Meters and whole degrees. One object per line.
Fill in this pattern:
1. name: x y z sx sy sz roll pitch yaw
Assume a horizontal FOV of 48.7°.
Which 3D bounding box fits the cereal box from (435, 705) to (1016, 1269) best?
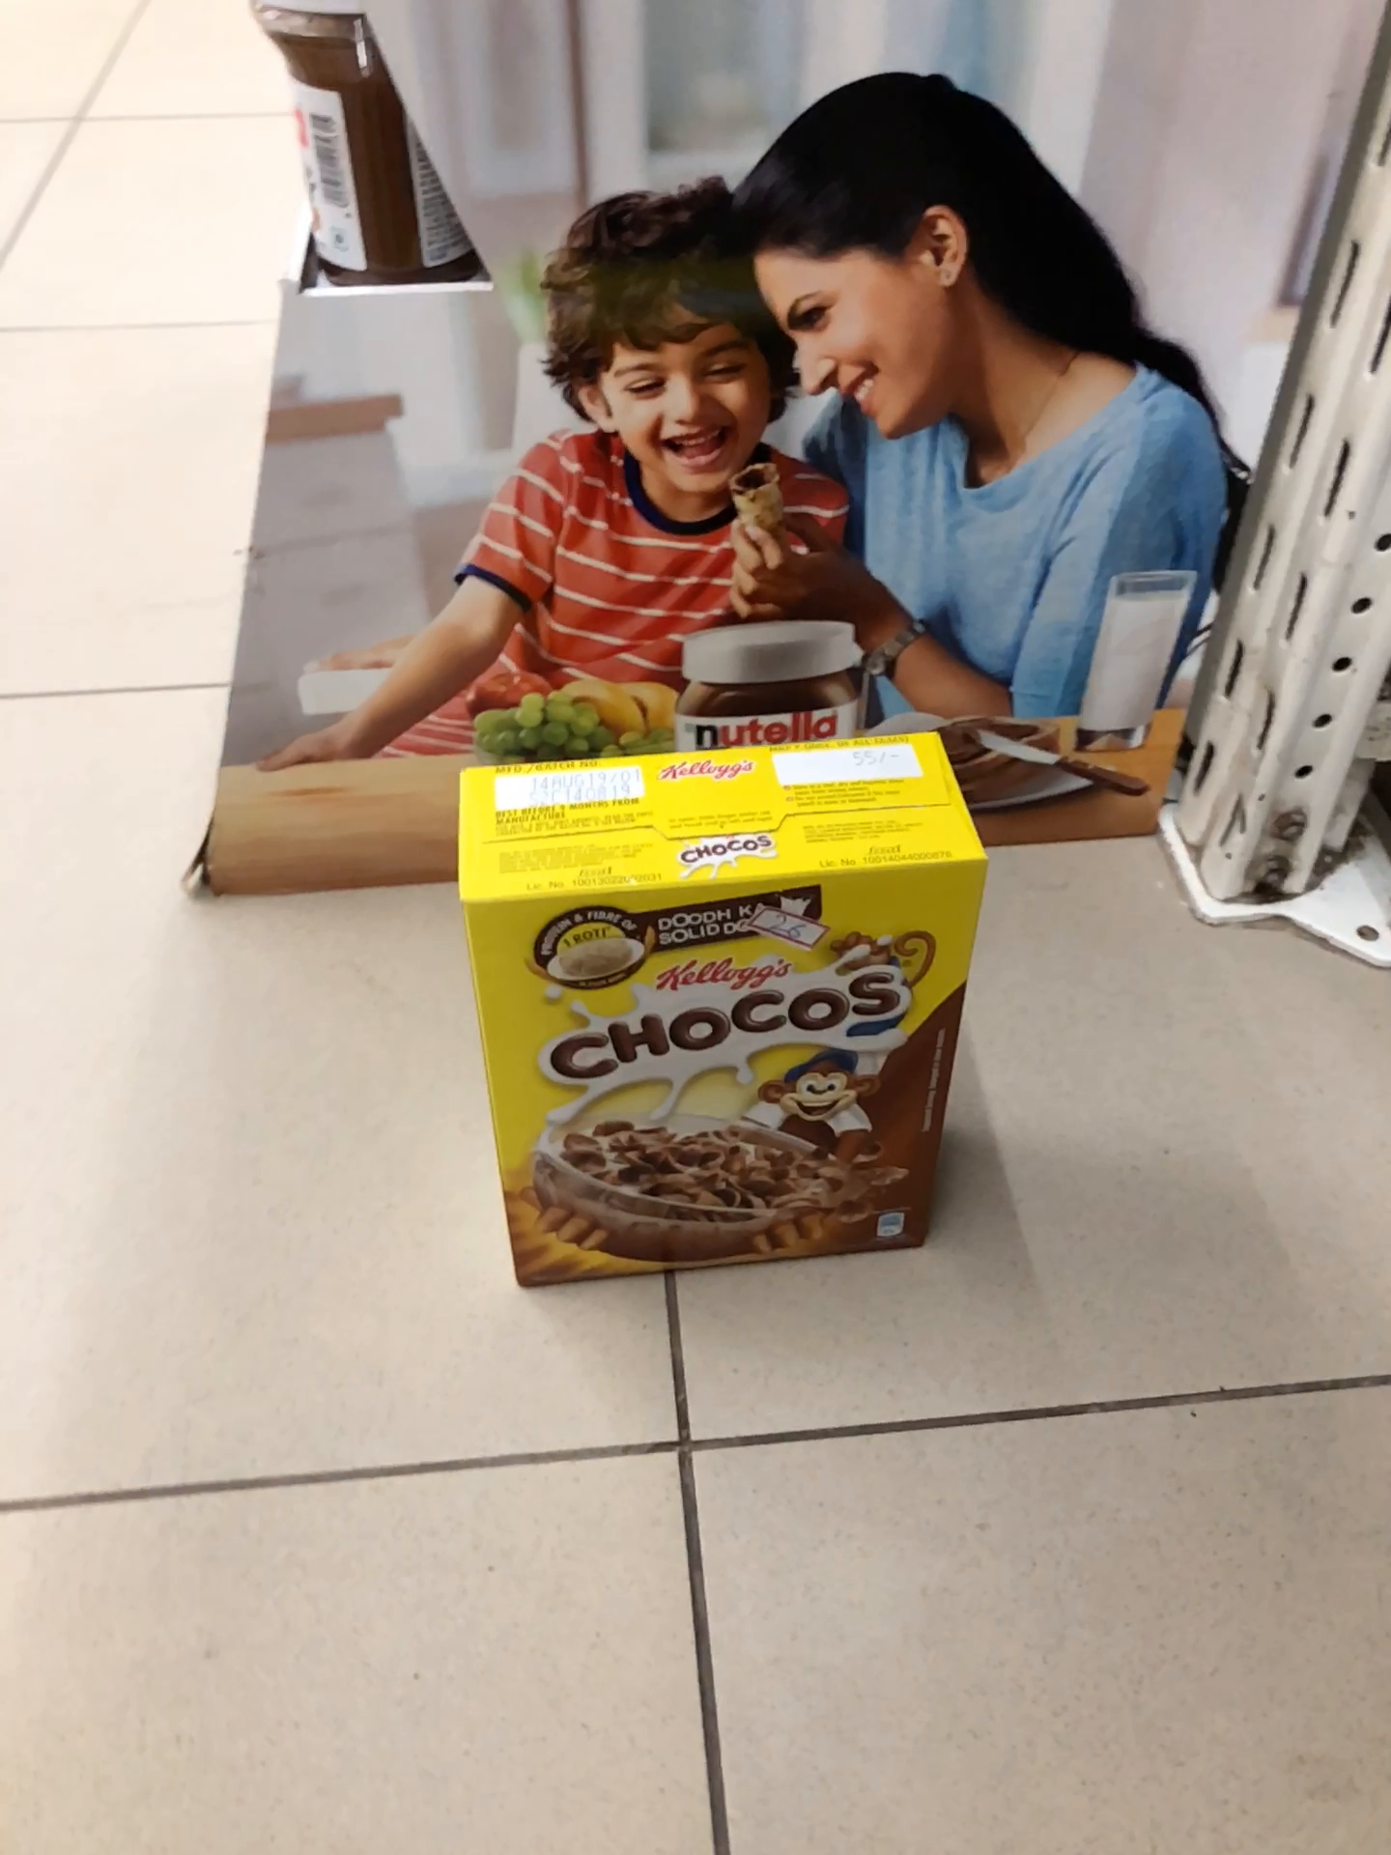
1. cereal box: 0.005 0.024 0.445 0.140 0.169 0.050 -5 45 -5
